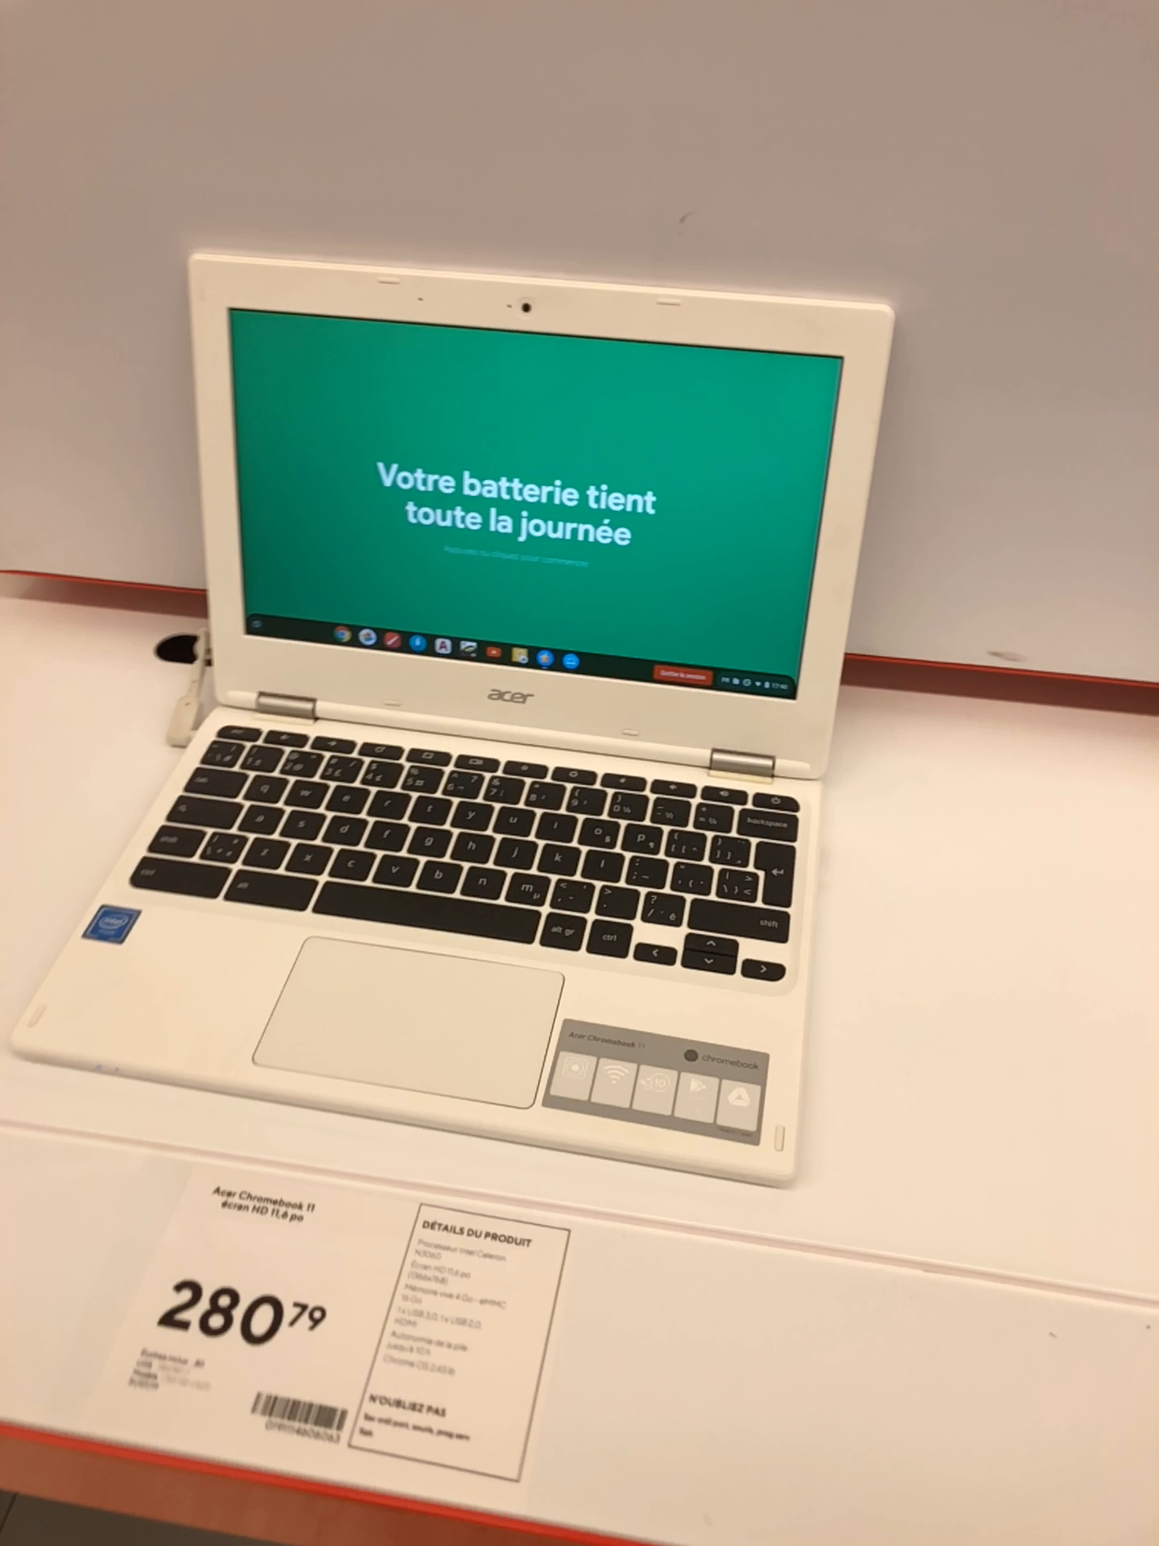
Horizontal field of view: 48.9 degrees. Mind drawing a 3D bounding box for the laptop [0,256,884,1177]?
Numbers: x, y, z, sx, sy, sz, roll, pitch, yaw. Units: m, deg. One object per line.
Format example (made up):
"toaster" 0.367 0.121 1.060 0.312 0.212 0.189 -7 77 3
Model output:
"laptop" -0.047 -0.039 0.474 0.282 0.188 0.260 7 44 8
